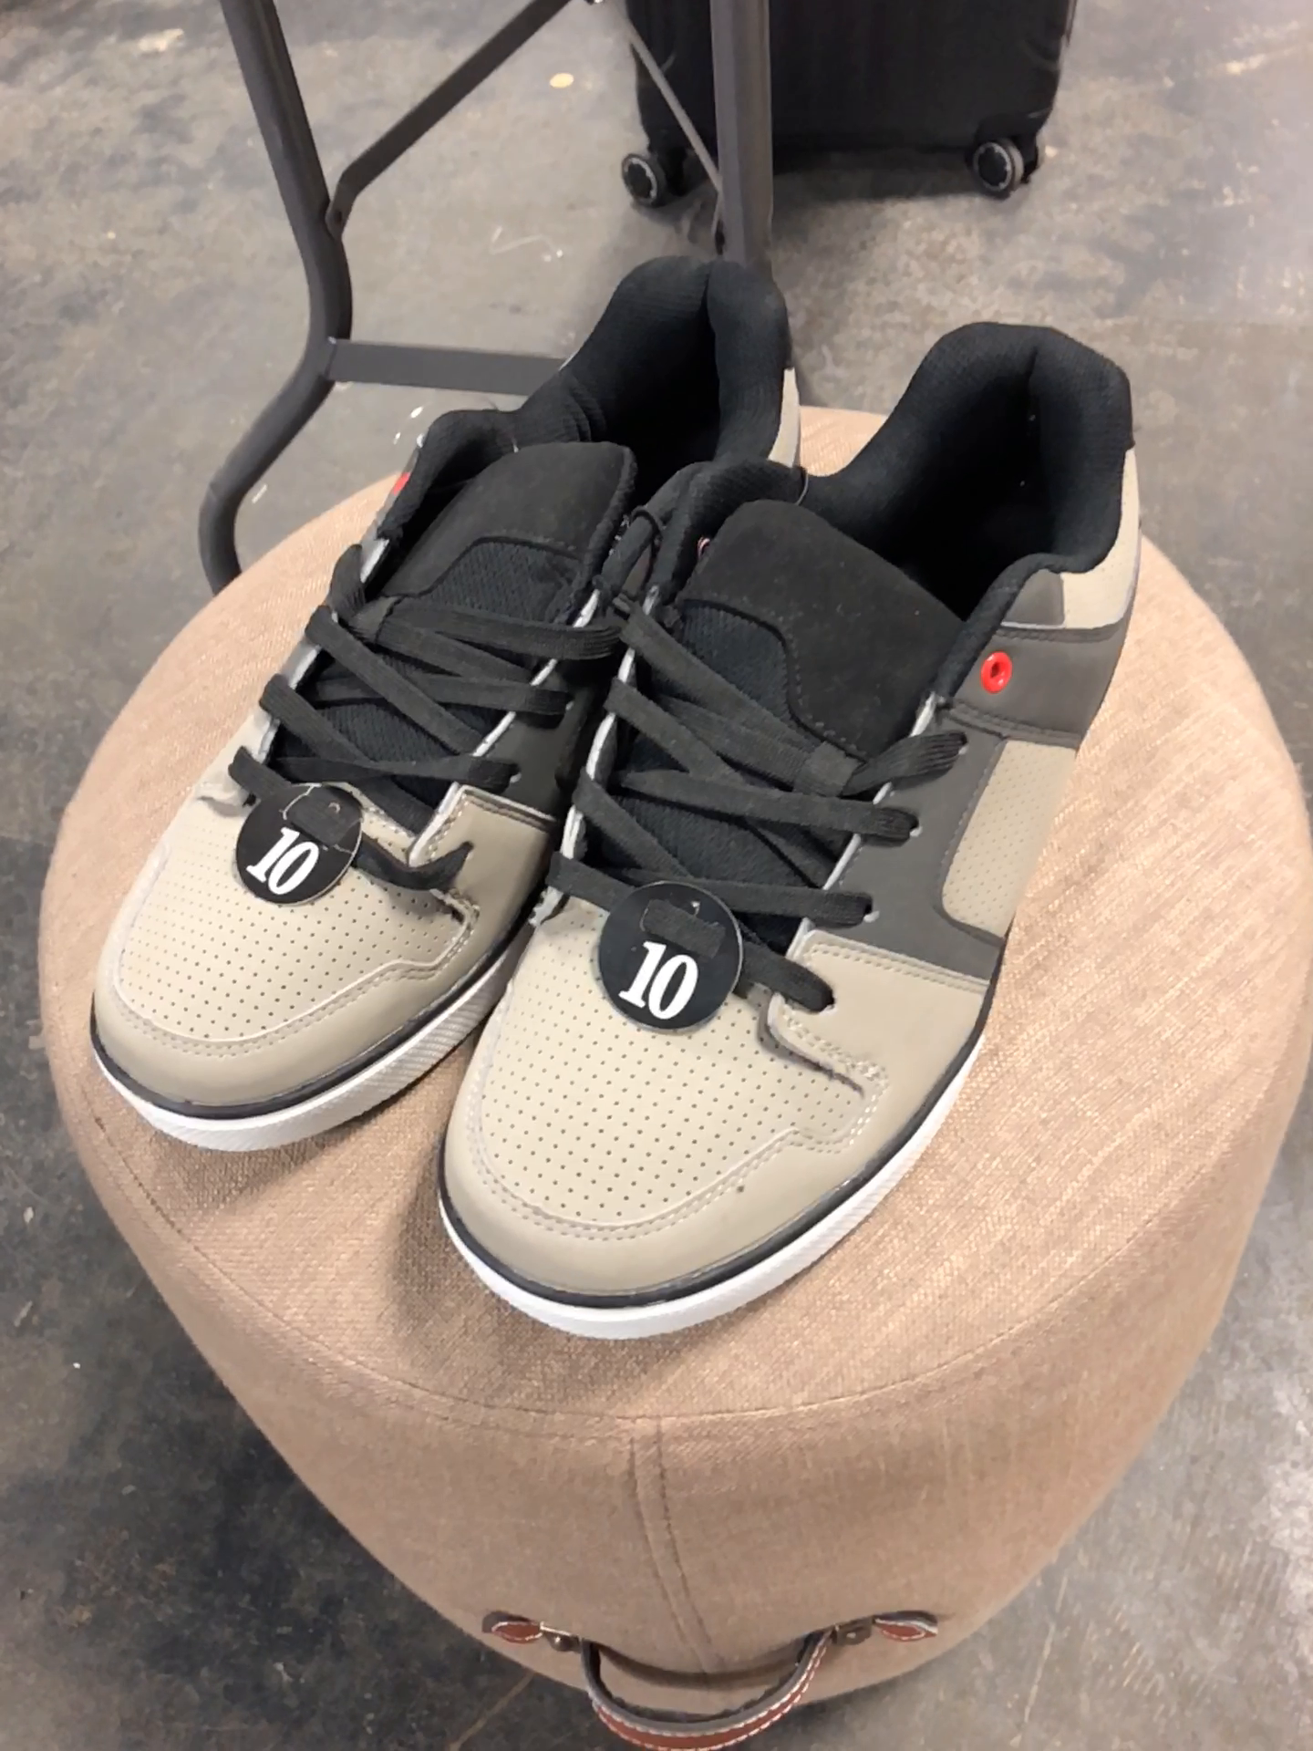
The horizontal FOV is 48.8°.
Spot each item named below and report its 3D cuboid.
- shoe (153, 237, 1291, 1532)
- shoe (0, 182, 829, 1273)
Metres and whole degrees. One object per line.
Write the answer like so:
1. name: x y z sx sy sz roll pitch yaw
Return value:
1. shoe: 0.040 -0.023 0.365 0.120 0.099 0.311 22 59 22
2. shoe: -0.071 -0.054 0.390 0.120 0.119 0.261 25 60 24
